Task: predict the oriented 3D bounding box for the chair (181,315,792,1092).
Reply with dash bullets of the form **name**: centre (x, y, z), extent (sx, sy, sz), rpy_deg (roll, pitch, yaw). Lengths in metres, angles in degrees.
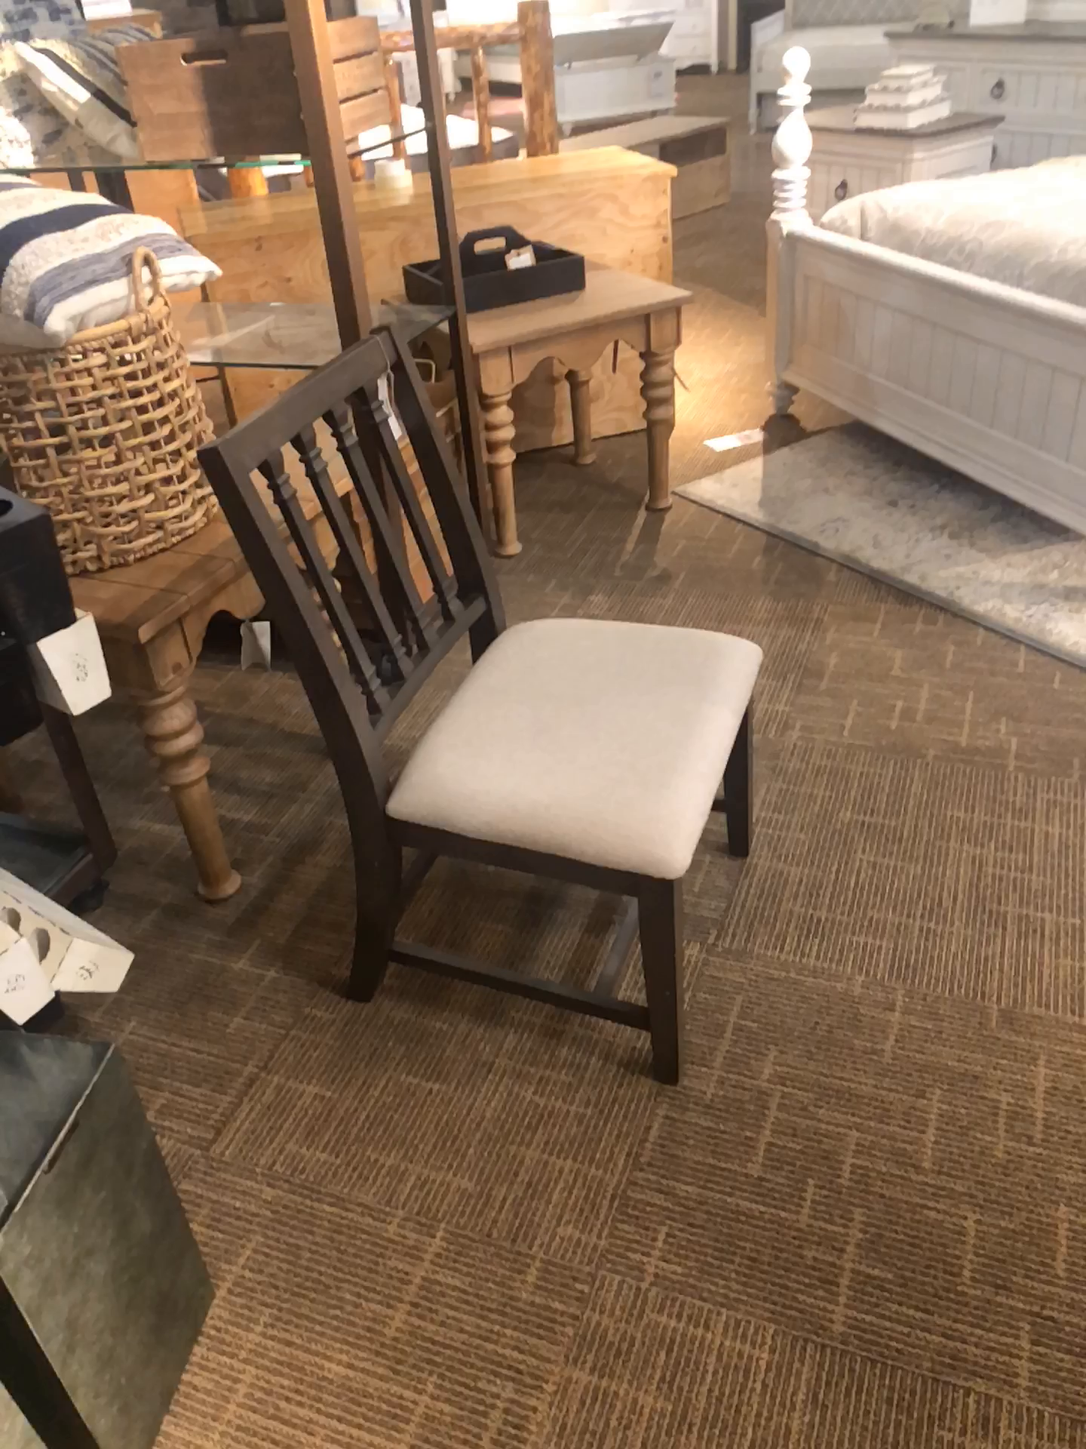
- **chair**: centre (-0.005, -0.056, 1.751), extent (0.600, 0.905, 0.583), rpy_deg (8, 36, 19)
